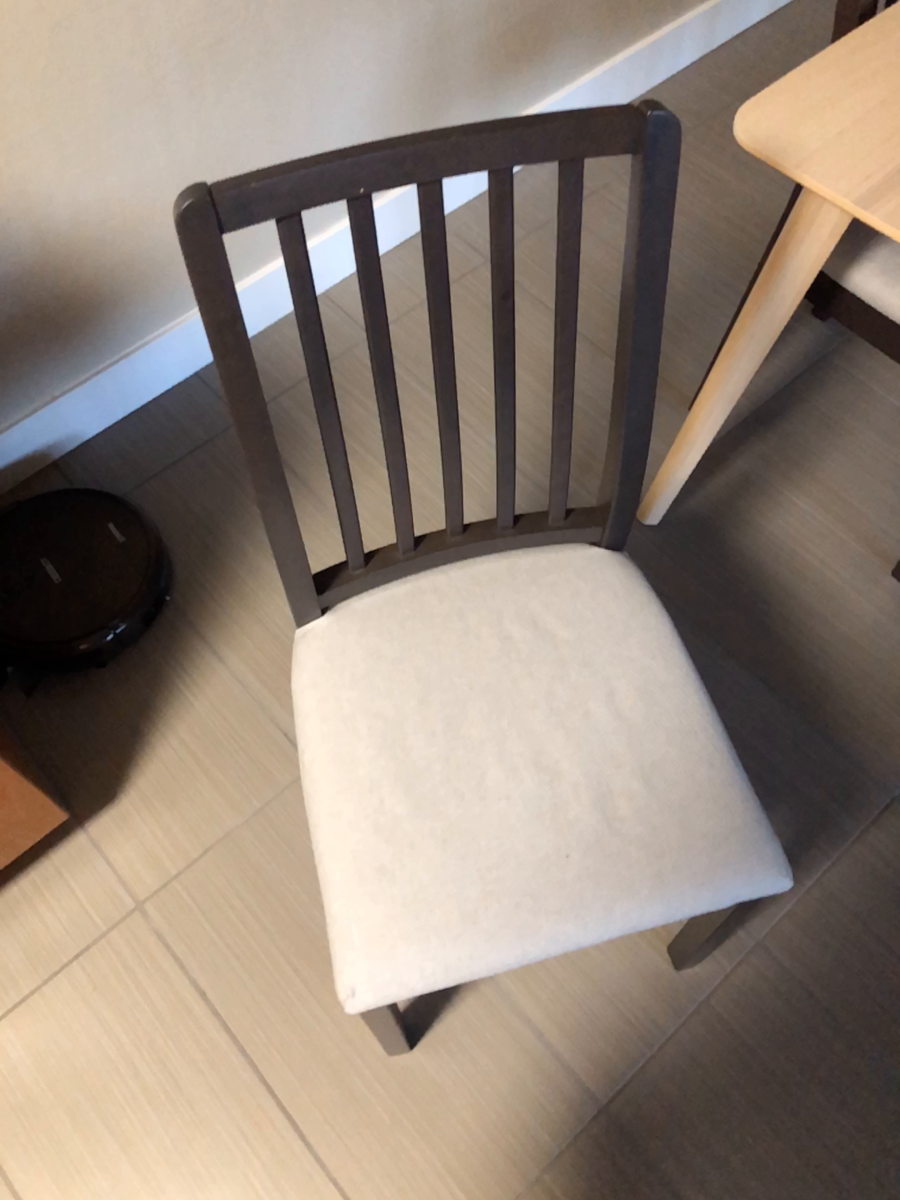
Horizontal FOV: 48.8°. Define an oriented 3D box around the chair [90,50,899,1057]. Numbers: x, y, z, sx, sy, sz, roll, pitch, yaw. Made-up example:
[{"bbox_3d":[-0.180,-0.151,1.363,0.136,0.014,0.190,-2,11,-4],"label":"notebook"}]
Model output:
[{"bbox_3d":[0.035,0.121,1.100,0.480,1.127,0.511,-10,60,-5],"label":"chair"}]
